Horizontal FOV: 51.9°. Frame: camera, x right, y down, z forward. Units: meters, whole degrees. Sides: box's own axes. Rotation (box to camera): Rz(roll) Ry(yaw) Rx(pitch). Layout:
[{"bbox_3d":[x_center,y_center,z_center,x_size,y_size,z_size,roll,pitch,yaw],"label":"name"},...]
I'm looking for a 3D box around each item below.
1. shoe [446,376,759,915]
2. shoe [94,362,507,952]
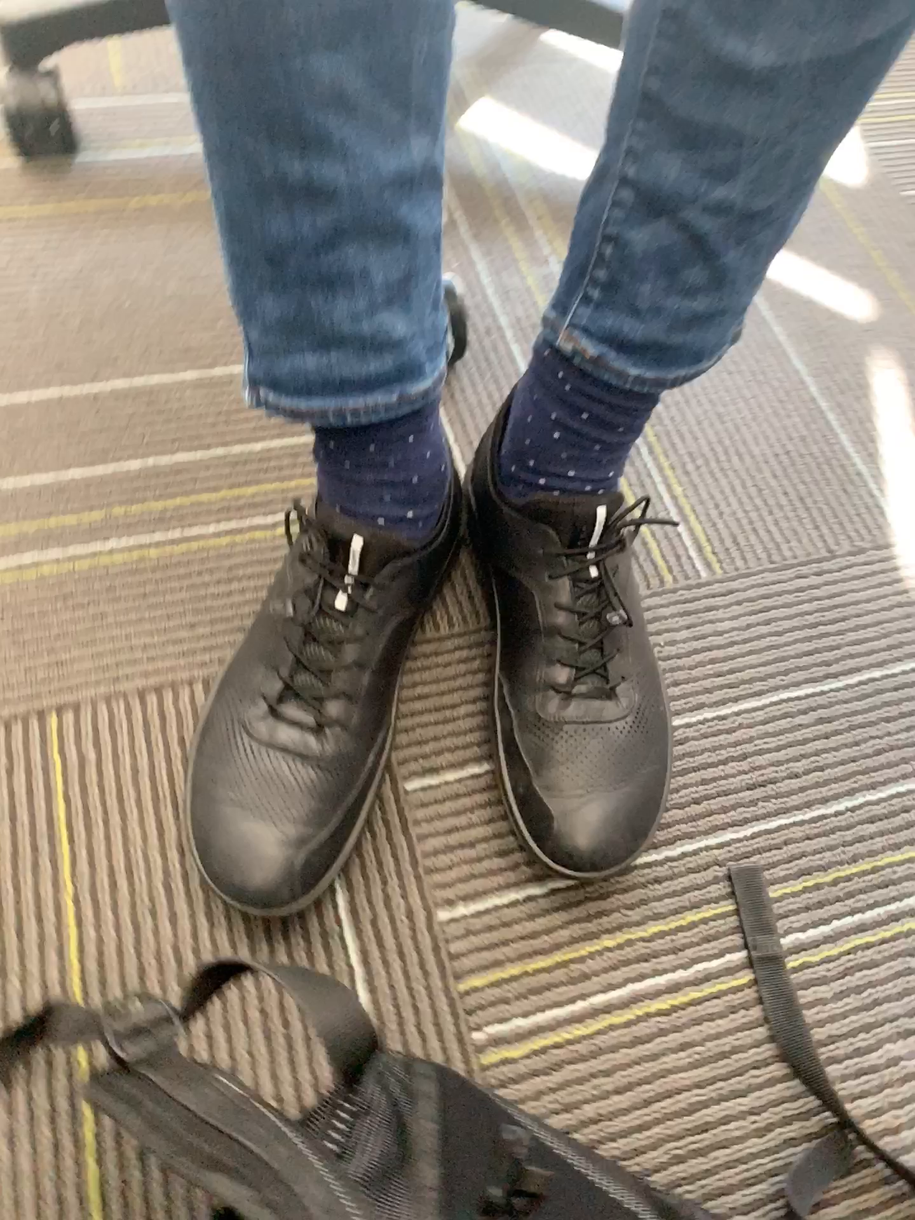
[{"bbox_3d":[0.069,0.009,0.568,0.110,0.100,0.311,-2,60,-9],"label":"shoe"},{"bbox_3d":[-0.071,0.014,0.539,0.110,0.100,0.311,17,59,3],"label":"shoe"}]
